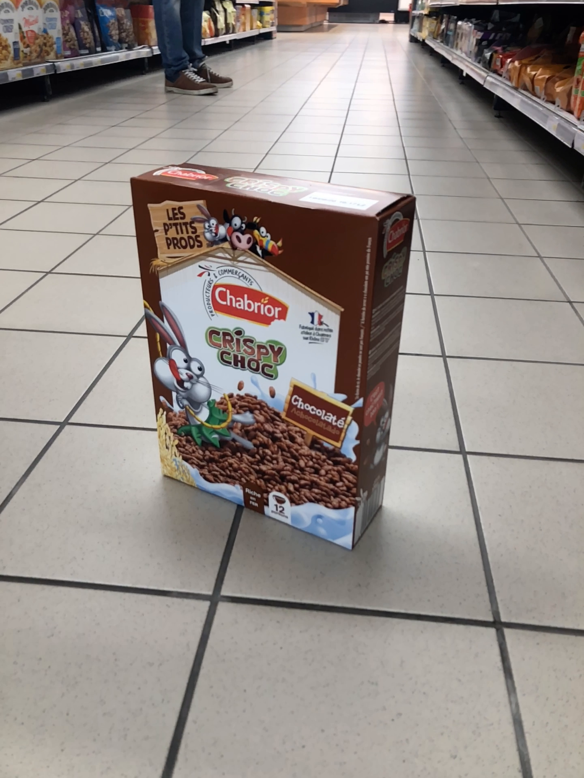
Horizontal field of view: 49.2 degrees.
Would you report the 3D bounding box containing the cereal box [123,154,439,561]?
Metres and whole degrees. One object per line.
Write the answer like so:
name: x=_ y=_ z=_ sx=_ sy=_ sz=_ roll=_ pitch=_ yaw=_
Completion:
cereal box: x=-0.015 y=-0.027 z=0.501 sx=0.210 sy=0.268 sz=0.070 roll=17 pitch=33 yaw=26
